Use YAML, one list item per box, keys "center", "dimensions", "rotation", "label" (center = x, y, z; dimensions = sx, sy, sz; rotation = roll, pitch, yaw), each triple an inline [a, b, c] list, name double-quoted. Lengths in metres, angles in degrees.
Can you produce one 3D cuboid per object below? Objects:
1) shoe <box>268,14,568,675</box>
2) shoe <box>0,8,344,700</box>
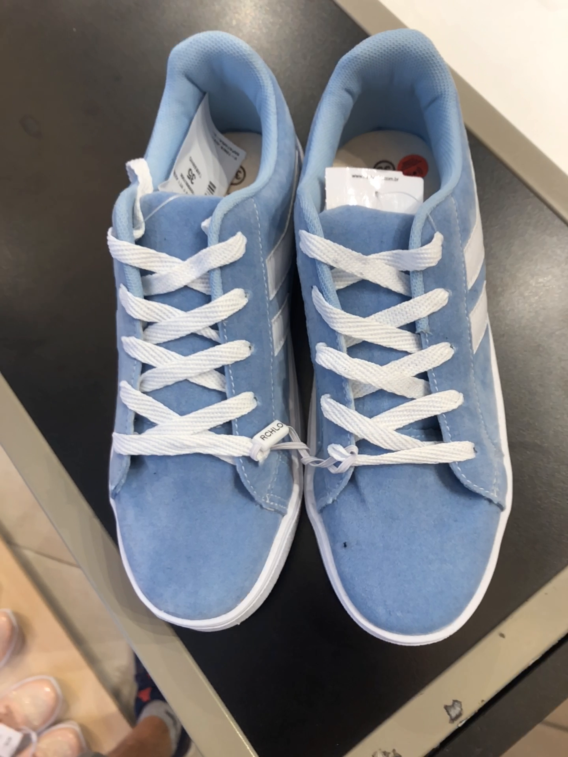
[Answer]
- center: [0.051, -0.011, 0.283]
  dimensions: [0.100, 0.120, 0.240]
  rotation: [-2, 76, 6]
  label: "shoe"
- center: [-0.028, -0.010, 0.275]
  dimensions: [0.100, 0.120, 0.240]
  rotation: [1, 76, 7]
  label: "shoe"
